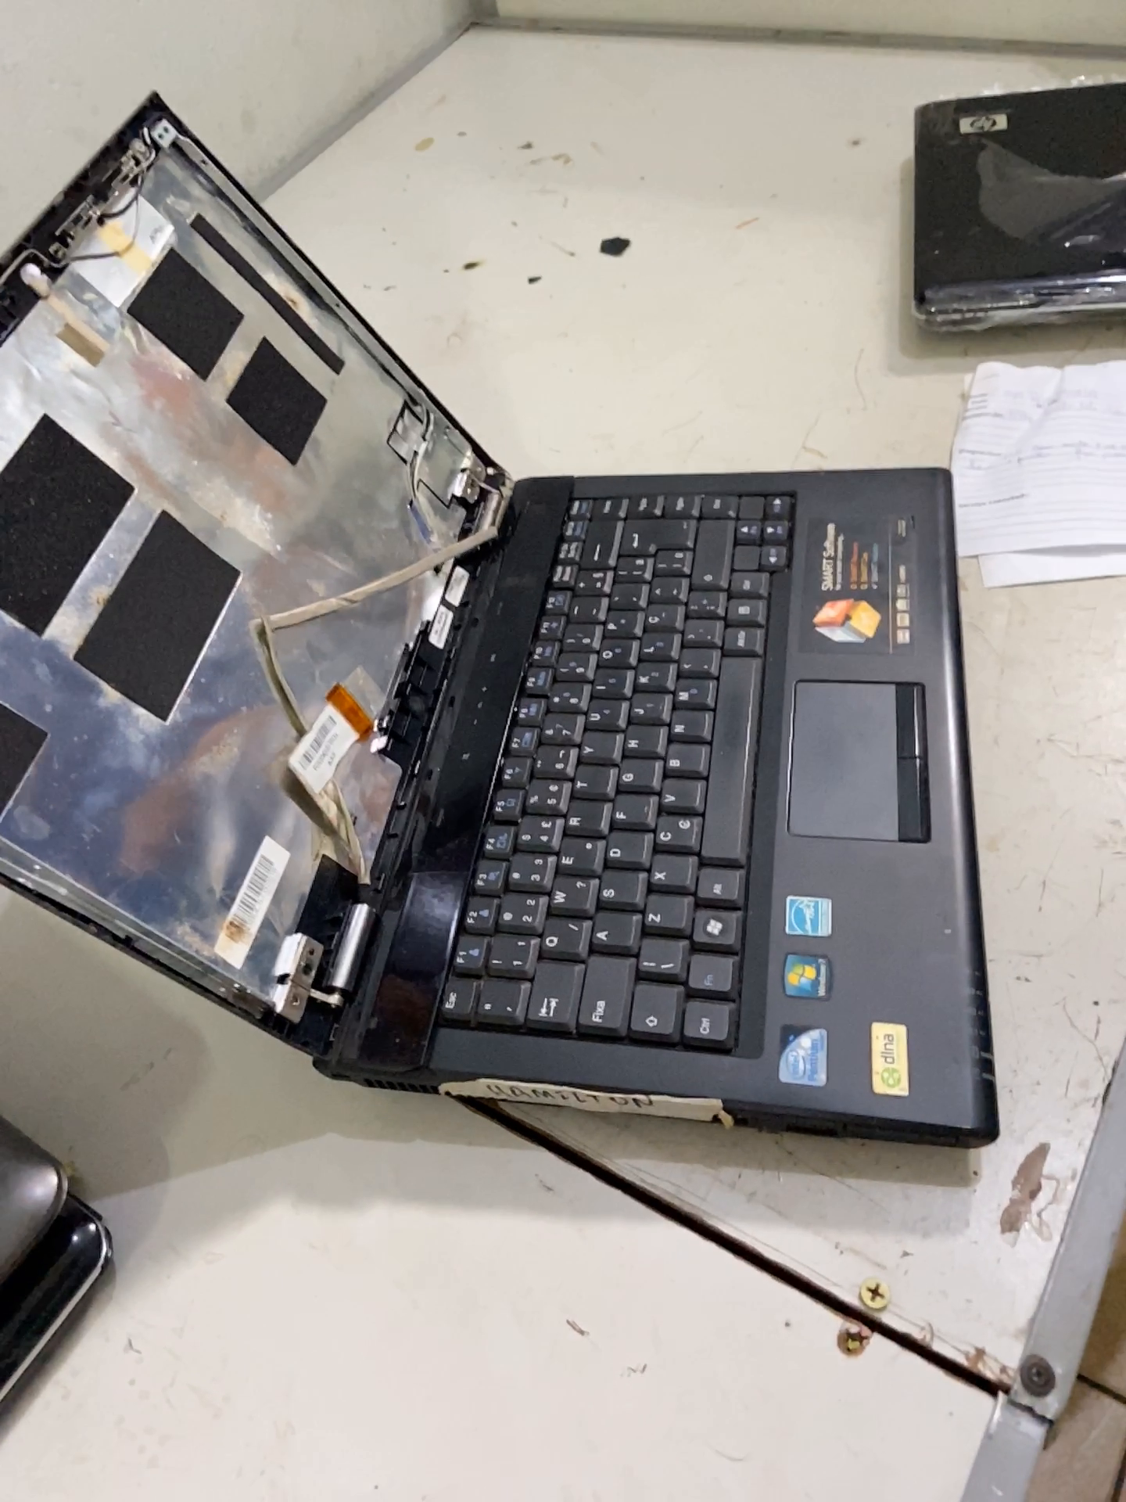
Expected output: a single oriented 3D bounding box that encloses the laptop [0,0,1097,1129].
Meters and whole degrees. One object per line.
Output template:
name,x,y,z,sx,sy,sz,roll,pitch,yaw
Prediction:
laptop,-0.019,-0.081,0.428,0.335,0.206,0.334,2,52,14
